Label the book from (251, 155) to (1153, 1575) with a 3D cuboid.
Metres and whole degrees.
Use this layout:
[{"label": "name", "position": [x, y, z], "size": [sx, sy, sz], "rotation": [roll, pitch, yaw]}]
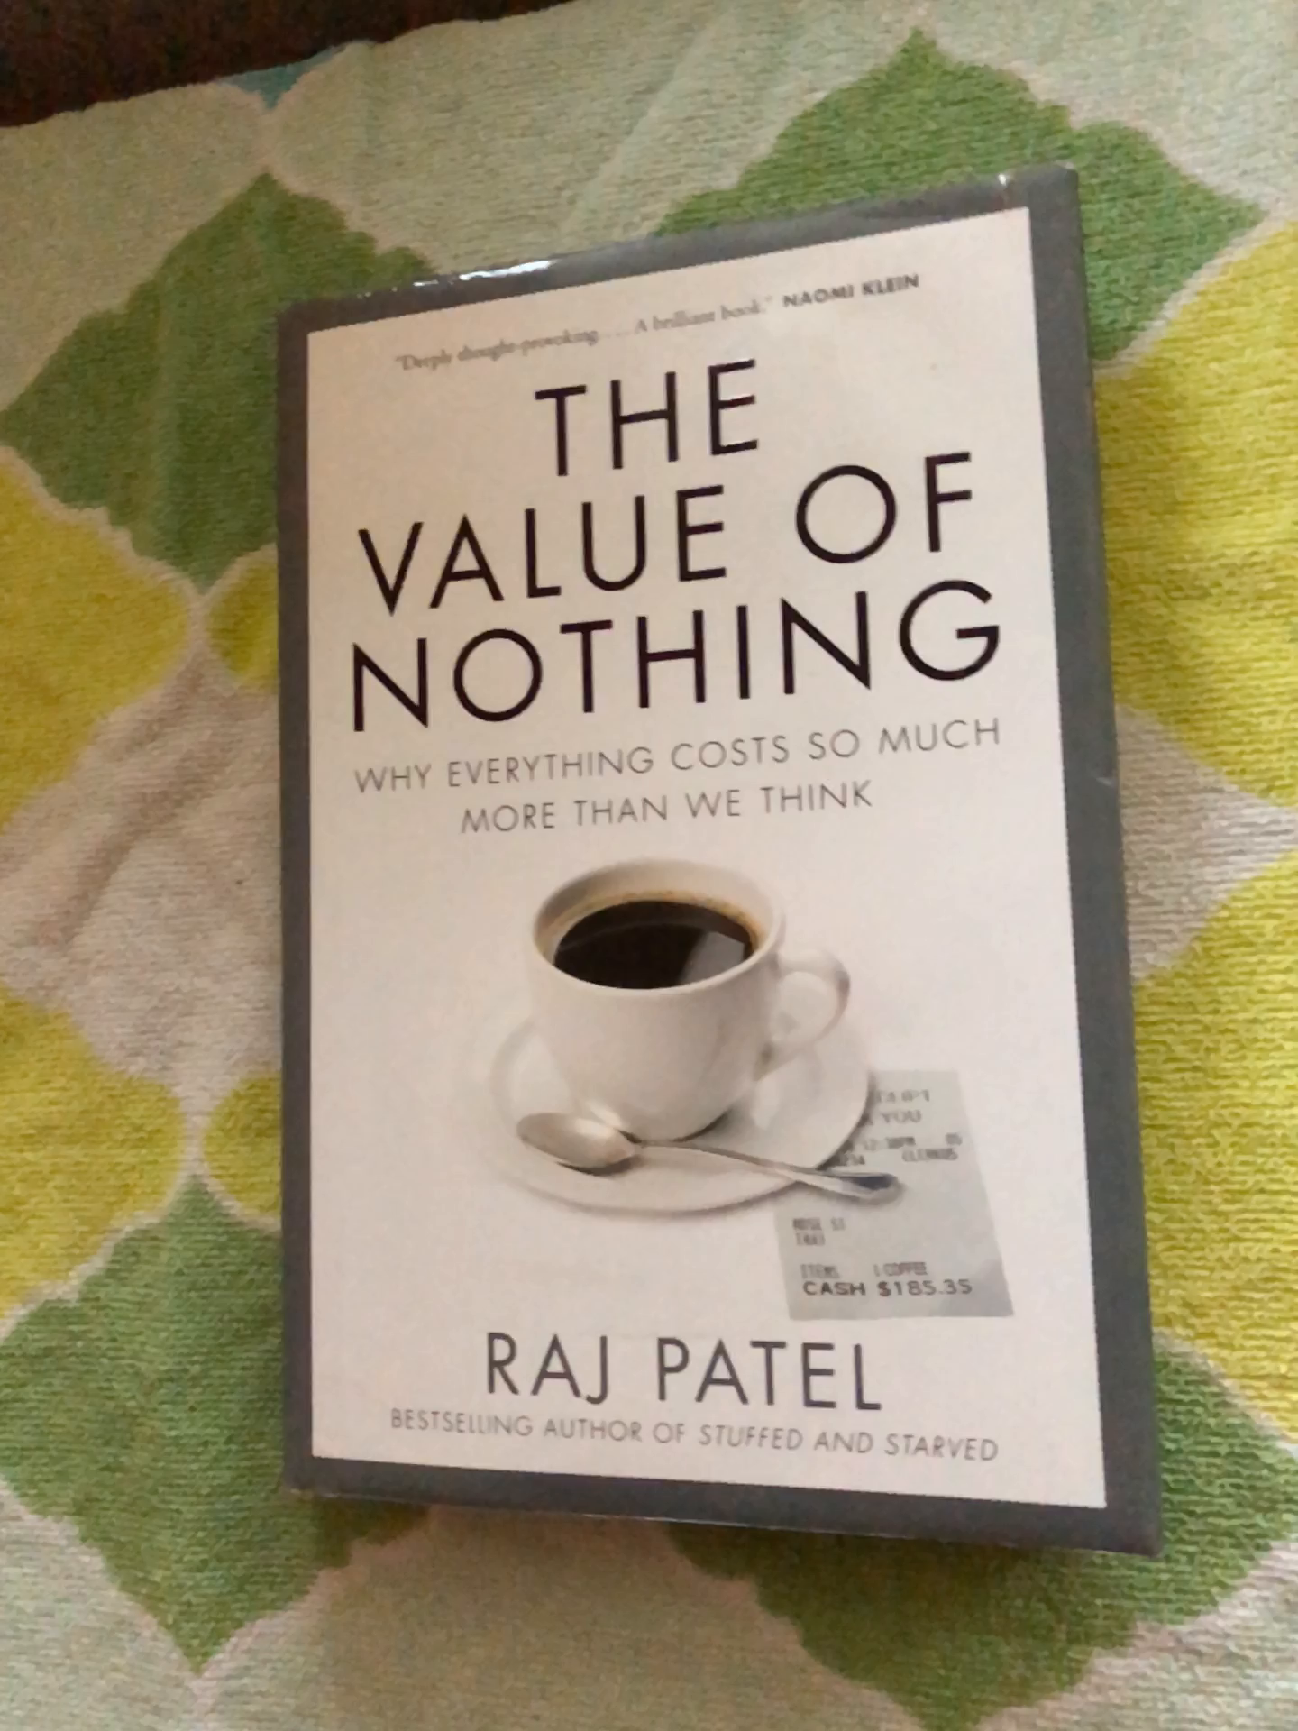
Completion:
[{"label": "book", "position": [0.004, -0.001, 0.242], "size": [0.140, 0.030, 0.206], "rotation": [-3, 83, 17]}]
